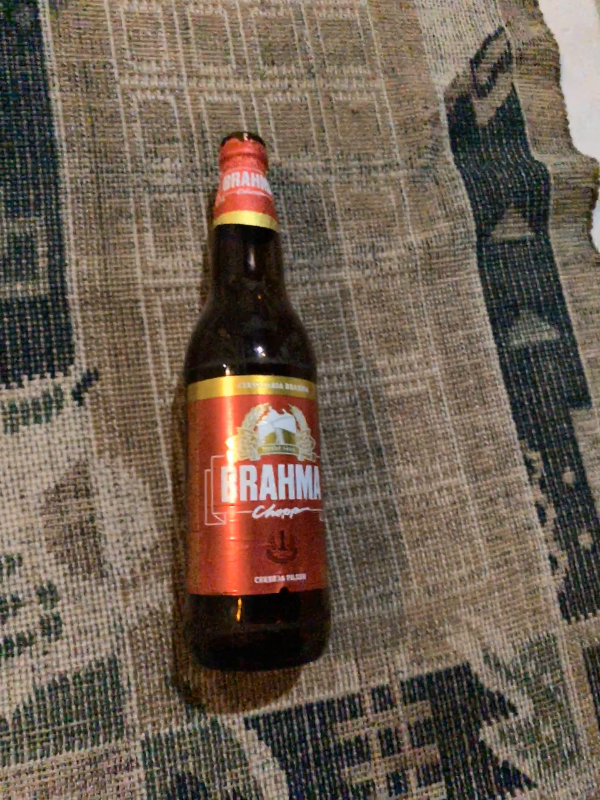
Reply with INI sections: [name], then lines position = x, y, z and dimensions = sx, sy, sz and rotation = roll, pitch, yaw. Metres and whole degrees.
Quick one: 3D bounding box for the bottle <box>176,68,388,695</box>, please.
[bottle]
position = -0.017, -0.016, 0.310
dimensions = 0.080, 0.060, 0.280
rotation = 1, 77, -18
